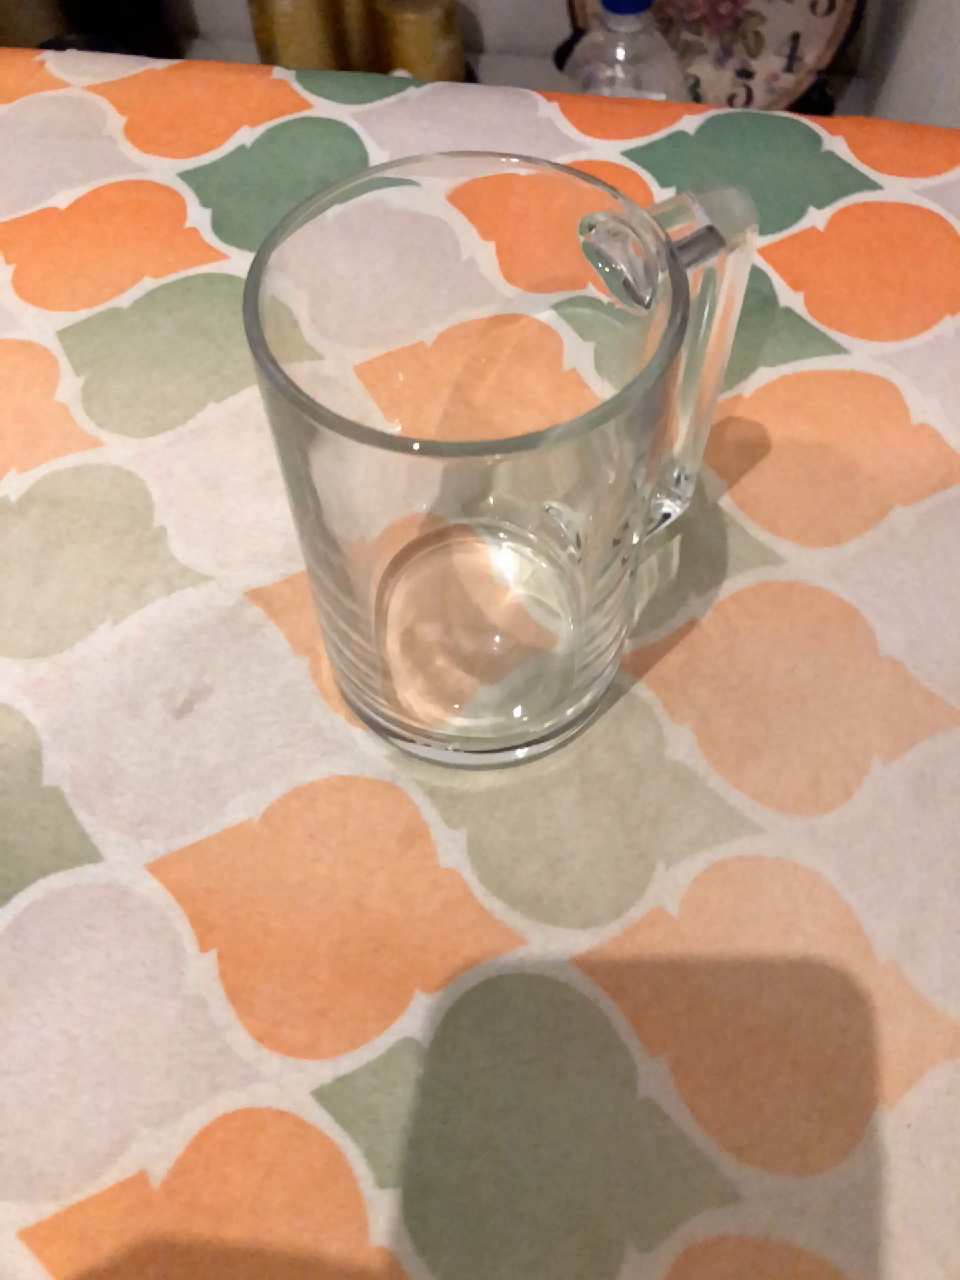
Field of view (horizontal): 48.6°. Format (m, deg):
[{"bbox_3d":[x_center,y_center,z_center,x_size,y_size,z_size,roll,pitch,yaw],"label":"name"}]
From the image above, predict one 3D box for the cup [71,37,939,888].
[{"bbox_3d":[0.006,-0.031,0.209,0.110,0.100,0.080,-34,63,-16],"label":"cup"}]
